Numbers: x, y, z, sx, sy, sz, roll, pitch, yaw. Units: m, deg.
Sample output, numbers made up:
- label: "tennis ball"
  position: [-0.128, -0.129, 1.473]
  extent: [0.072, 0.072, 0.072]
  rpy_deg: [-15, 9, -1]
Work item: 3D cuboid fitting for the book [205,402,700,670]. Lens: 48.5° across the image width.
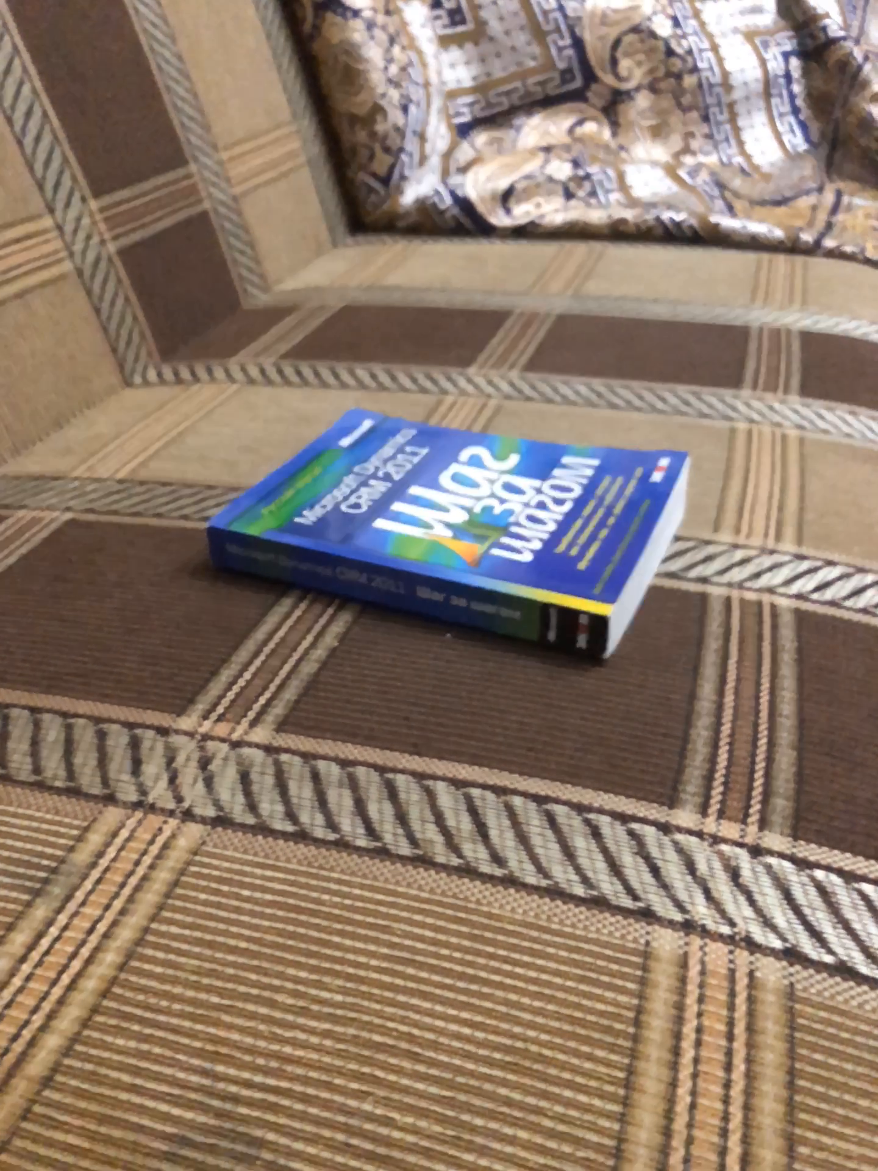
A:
- label: "book"
  position: [0.013, -0.036, 0.487]
  extent: [0.200, 0.033, 0.151]
  rpy_deg: [12, 35, 21]
